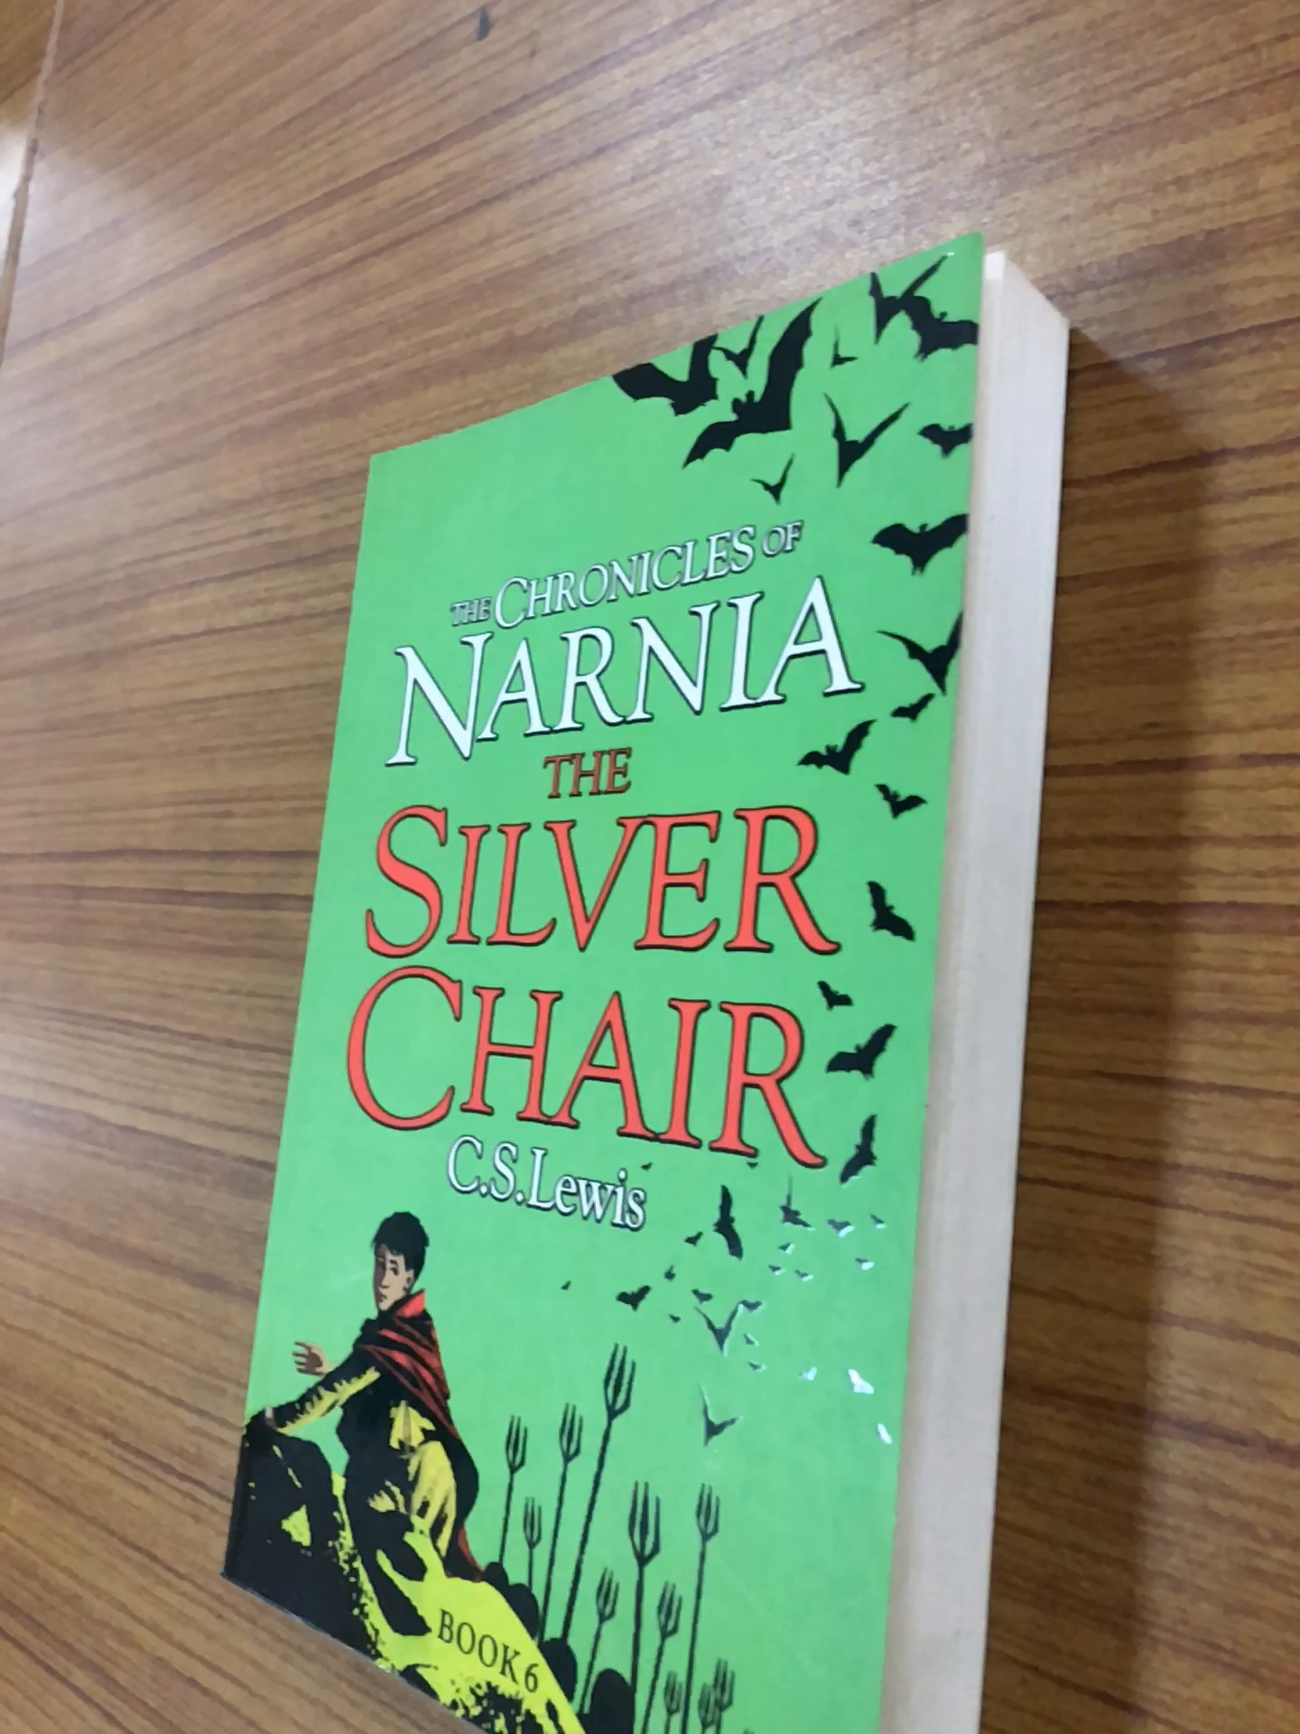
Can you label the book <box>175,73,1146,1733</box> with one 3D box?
[{"bbox_3d":[-0.006,0.014,0.216,0.141,0.030,0.210,-1,80,43],"label":"book"}]
